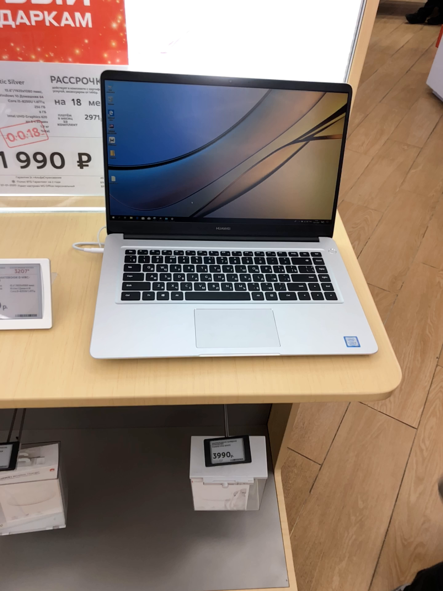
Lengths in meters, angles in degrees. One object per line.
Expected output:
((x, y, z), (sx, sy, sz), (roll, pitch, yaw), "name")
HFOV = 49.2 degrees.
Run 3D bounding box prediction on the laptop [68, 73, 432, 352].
((0.014, -0.115, 0.624), (0.340, 0.204, 0.307), (0, 43, -8), "laptop")
